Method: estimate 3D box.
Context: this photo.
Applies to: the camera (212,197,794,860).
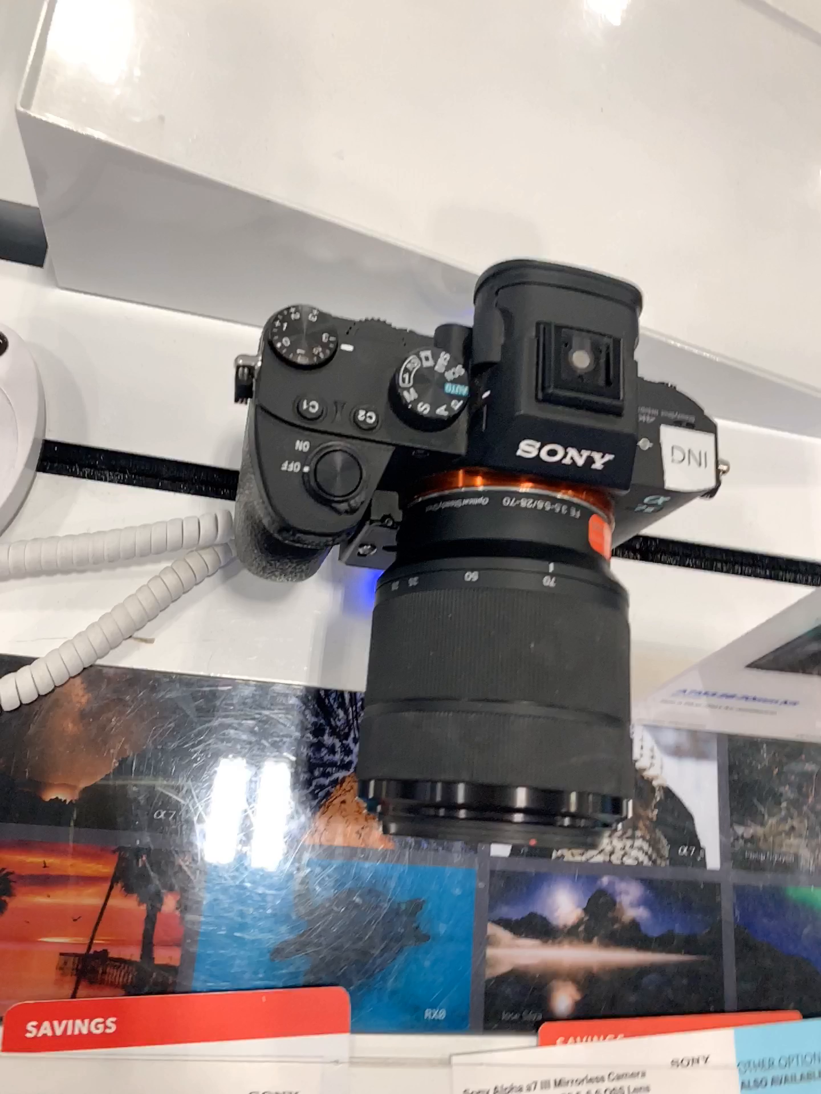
[{"bbox_3d":[0.013,0.007,0.232,0.119,0.100,0.140,5,74,-13],"label":"camera"}]
